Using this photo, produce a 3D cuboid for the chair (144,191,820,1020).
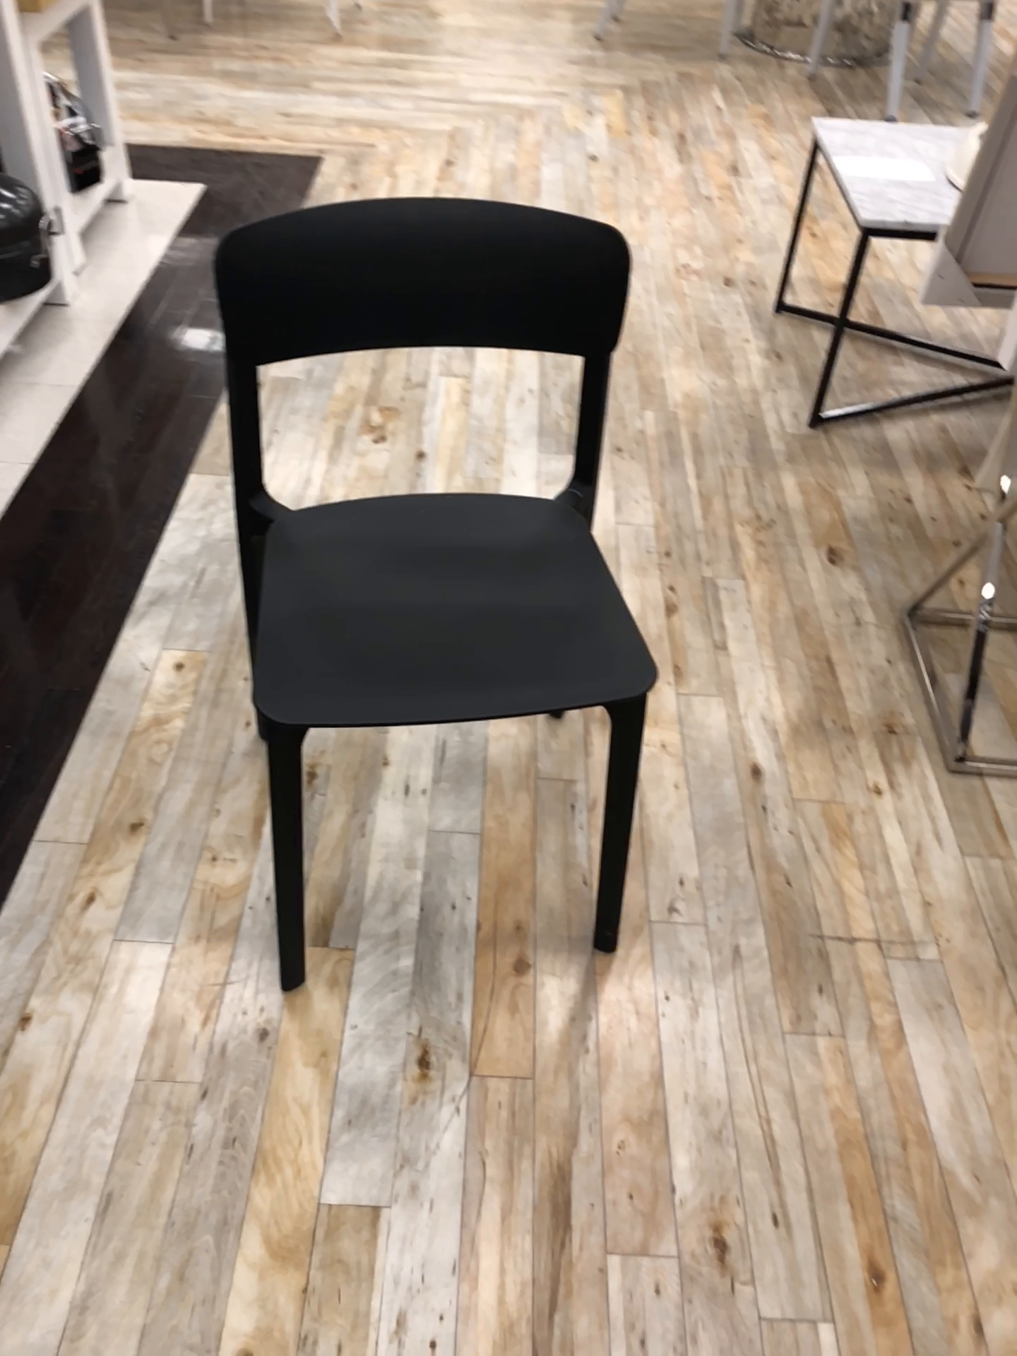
[{"bbox_3d":[-0.073,-0.080,1.251,0.500,0.707,0.542,-5,43,-9],"label":"chair"}]
